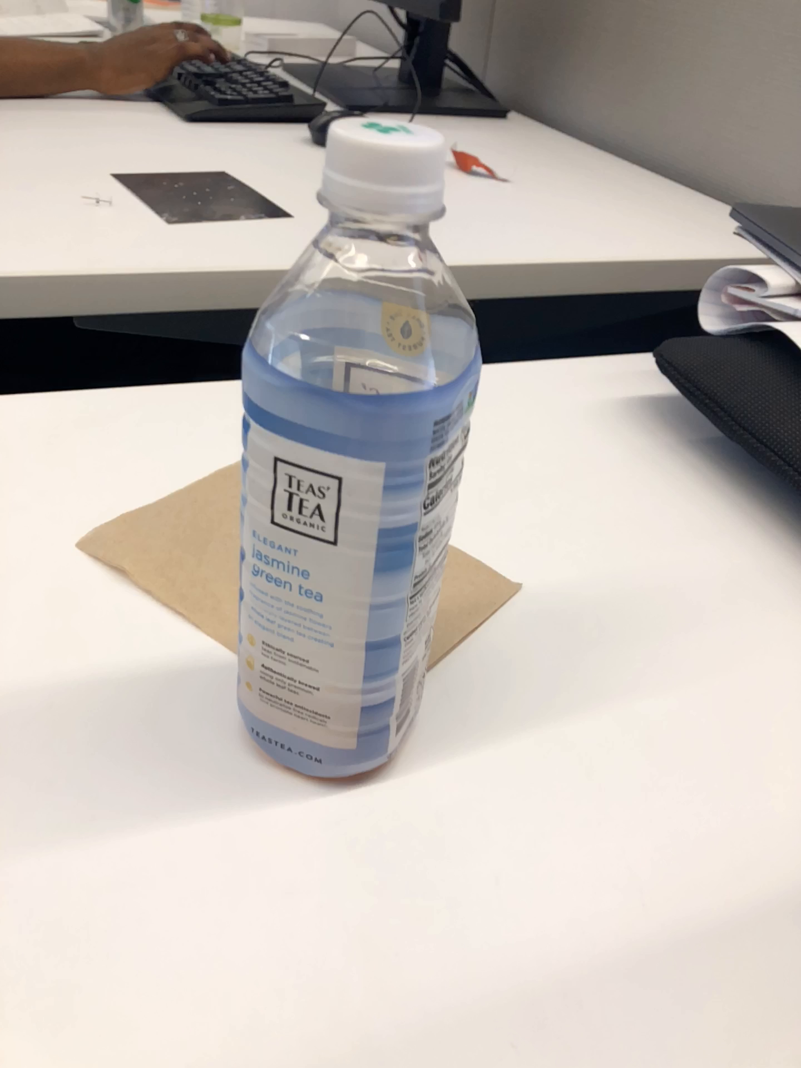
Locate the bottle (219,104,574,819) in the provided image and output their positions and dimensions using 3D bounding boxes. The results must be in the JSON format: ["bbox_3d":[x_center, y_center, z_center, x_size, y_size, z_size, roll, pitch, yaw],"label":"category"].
[{"bbox_3d":[-0.009,-0.015,0.289,0.070,0.209,0.070,6,33,-4],"label":"bottle"}]
